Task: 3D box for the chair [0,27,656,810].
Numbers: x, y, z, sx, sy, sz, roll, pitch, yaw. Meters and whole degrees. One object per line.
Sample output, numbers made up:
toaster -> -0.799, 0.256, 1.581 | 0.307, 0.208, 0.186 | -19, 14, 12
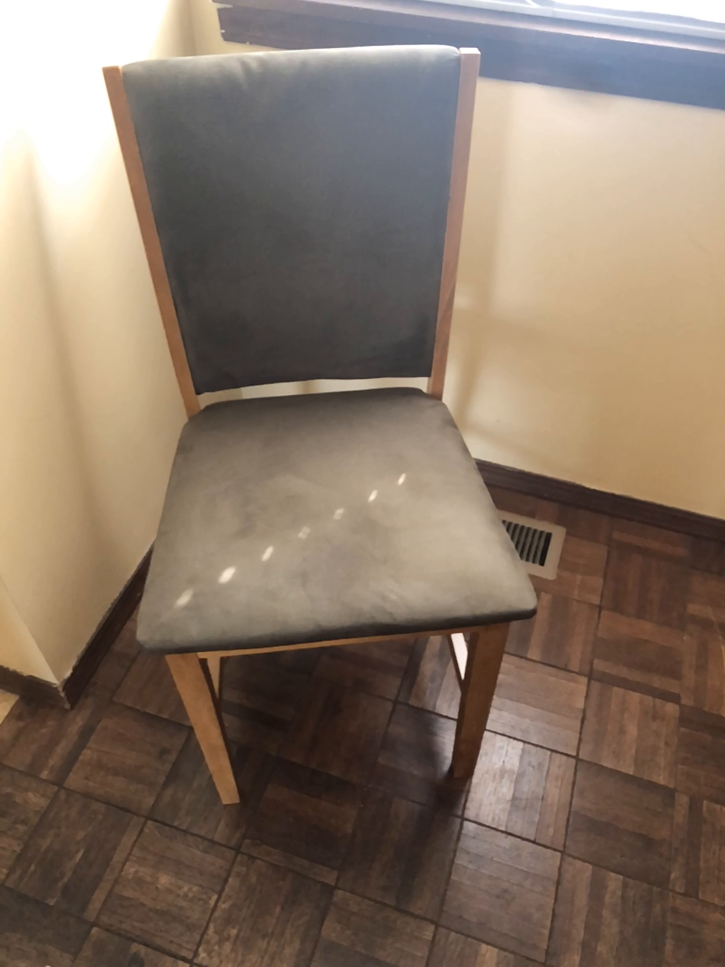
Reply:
chair -> -0.059, -0.042, 1.050 | 0.490, 0.858, 0.511 | -5, 44, -5
